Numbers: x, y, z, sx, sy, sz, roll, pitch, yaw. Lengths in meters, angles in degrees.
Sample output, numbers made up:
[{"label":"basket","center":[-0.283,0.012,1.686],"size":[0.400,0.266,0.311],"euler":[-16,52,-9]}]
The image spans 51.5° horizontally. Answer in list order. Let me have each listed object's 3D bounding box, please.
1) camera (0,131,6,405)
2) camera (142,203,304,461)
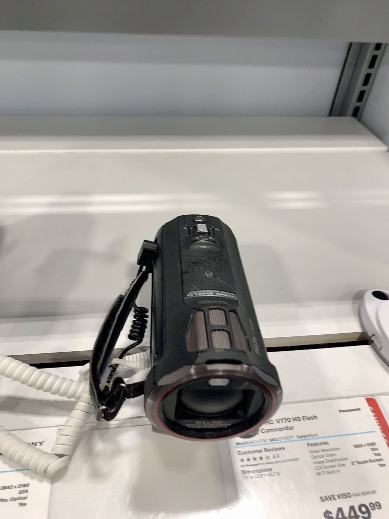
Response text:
[{"label":"camera","center":[-0.186,-0.008,0.245],"size":[0.071,0.073,0.167],"euler":[2,40,-5]},{"label":"camera","center":[0.003,0.029,0.233],"size":[0.065,0.061,0.139],"euler":[-1,38,-7]}]
